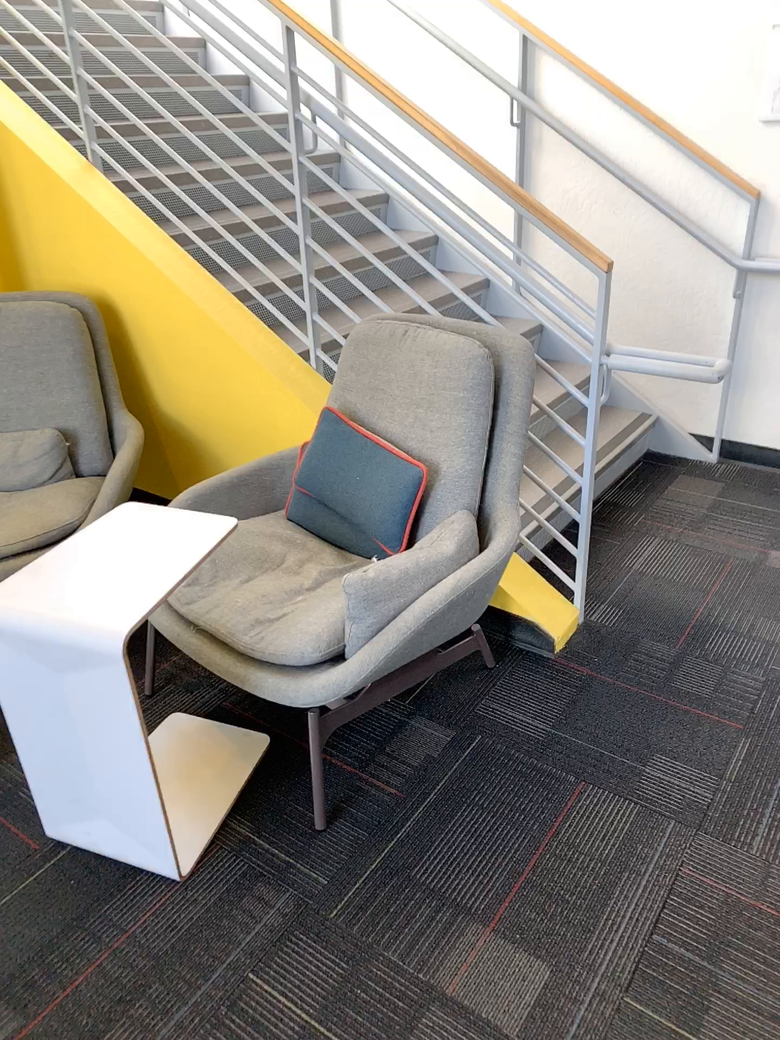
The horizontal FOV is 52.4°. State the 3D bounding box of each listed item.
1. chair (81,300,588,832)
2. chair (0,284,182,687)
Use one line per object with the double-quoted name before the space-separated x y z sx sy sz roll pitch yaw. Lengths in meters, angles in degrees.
"chair" -0.133 -0.001 2.126 0.881 0.945 0.874 -22 32 -38
"chair" -1.289 -0.166 2.649 0.890 1.014 0.845 -6 25 -4
